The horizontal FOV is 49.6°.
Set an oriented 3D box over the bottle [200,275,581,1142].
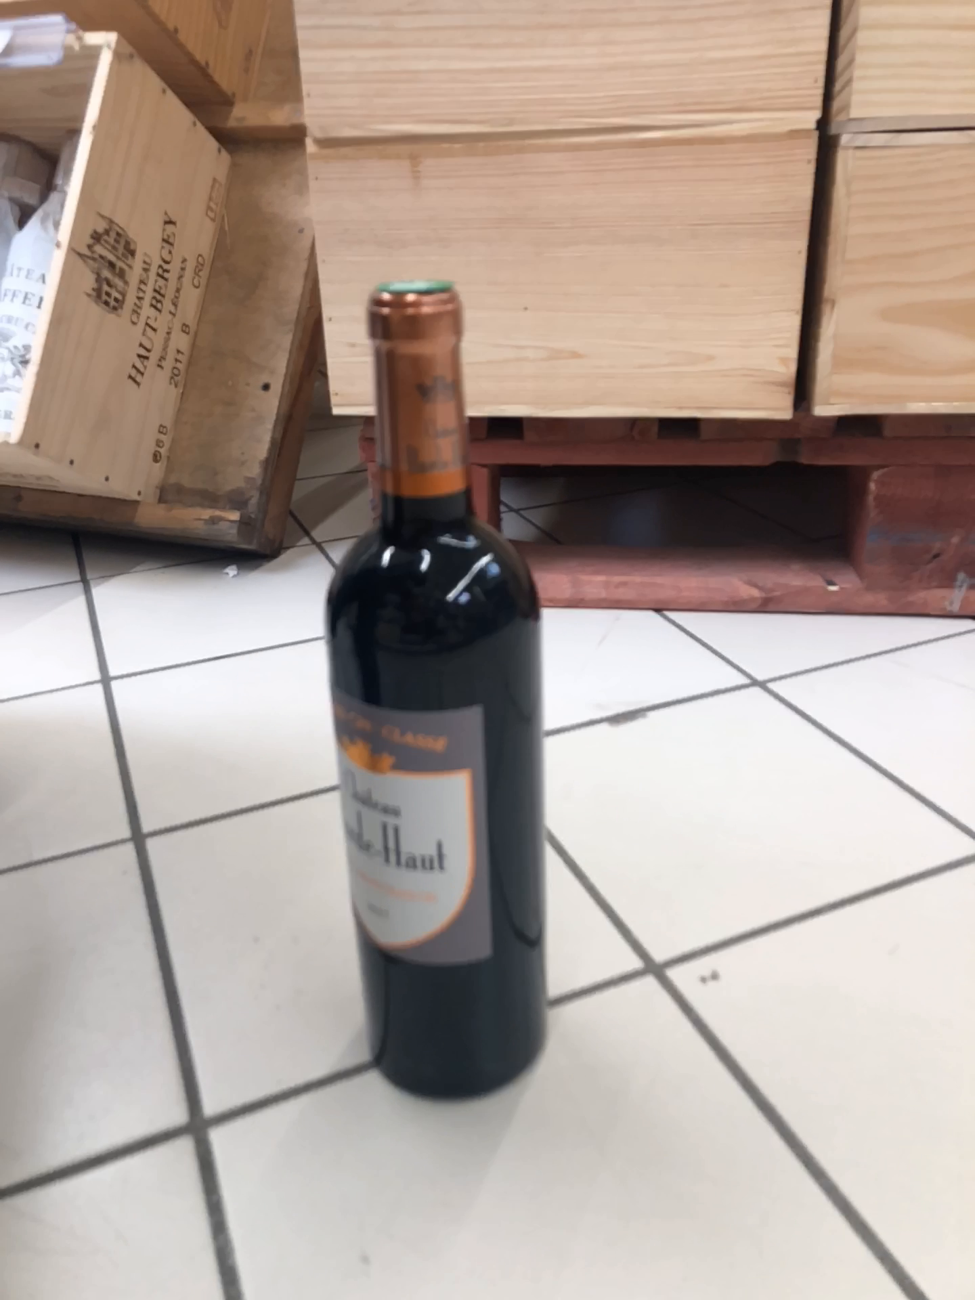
[{"bbox_3d":[-0.024,0.025,0.375,0.080,0.288,0.080,-2,25,1],"label":"bottle"}]
